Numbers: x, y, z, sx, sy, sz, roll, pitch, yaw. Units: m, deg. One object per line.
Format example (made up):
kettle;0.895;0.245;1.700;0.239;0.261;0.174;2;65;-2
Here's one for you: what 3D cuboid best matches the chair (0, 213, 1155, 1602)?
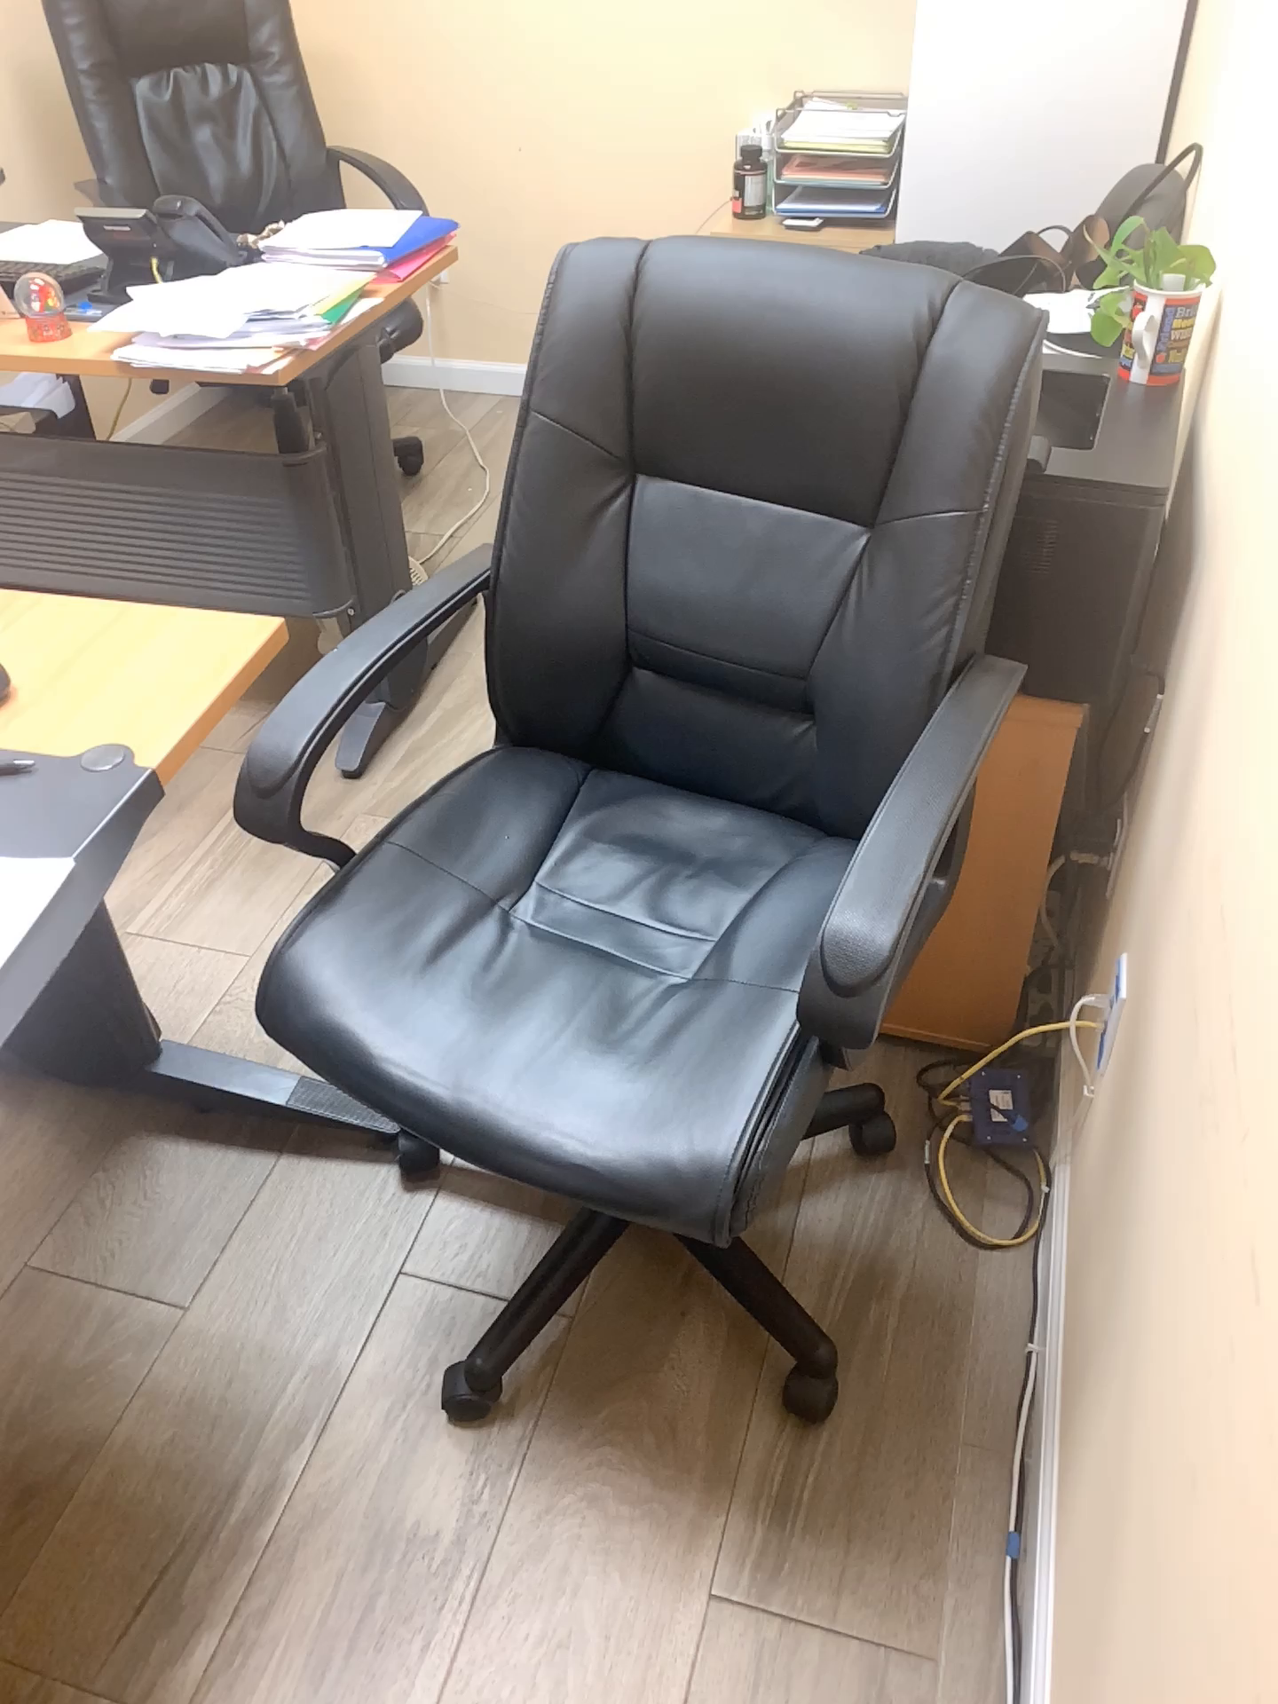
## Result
chair;-0.014;0.026;1.203;0.620;0.946;0.665;18;43;22
